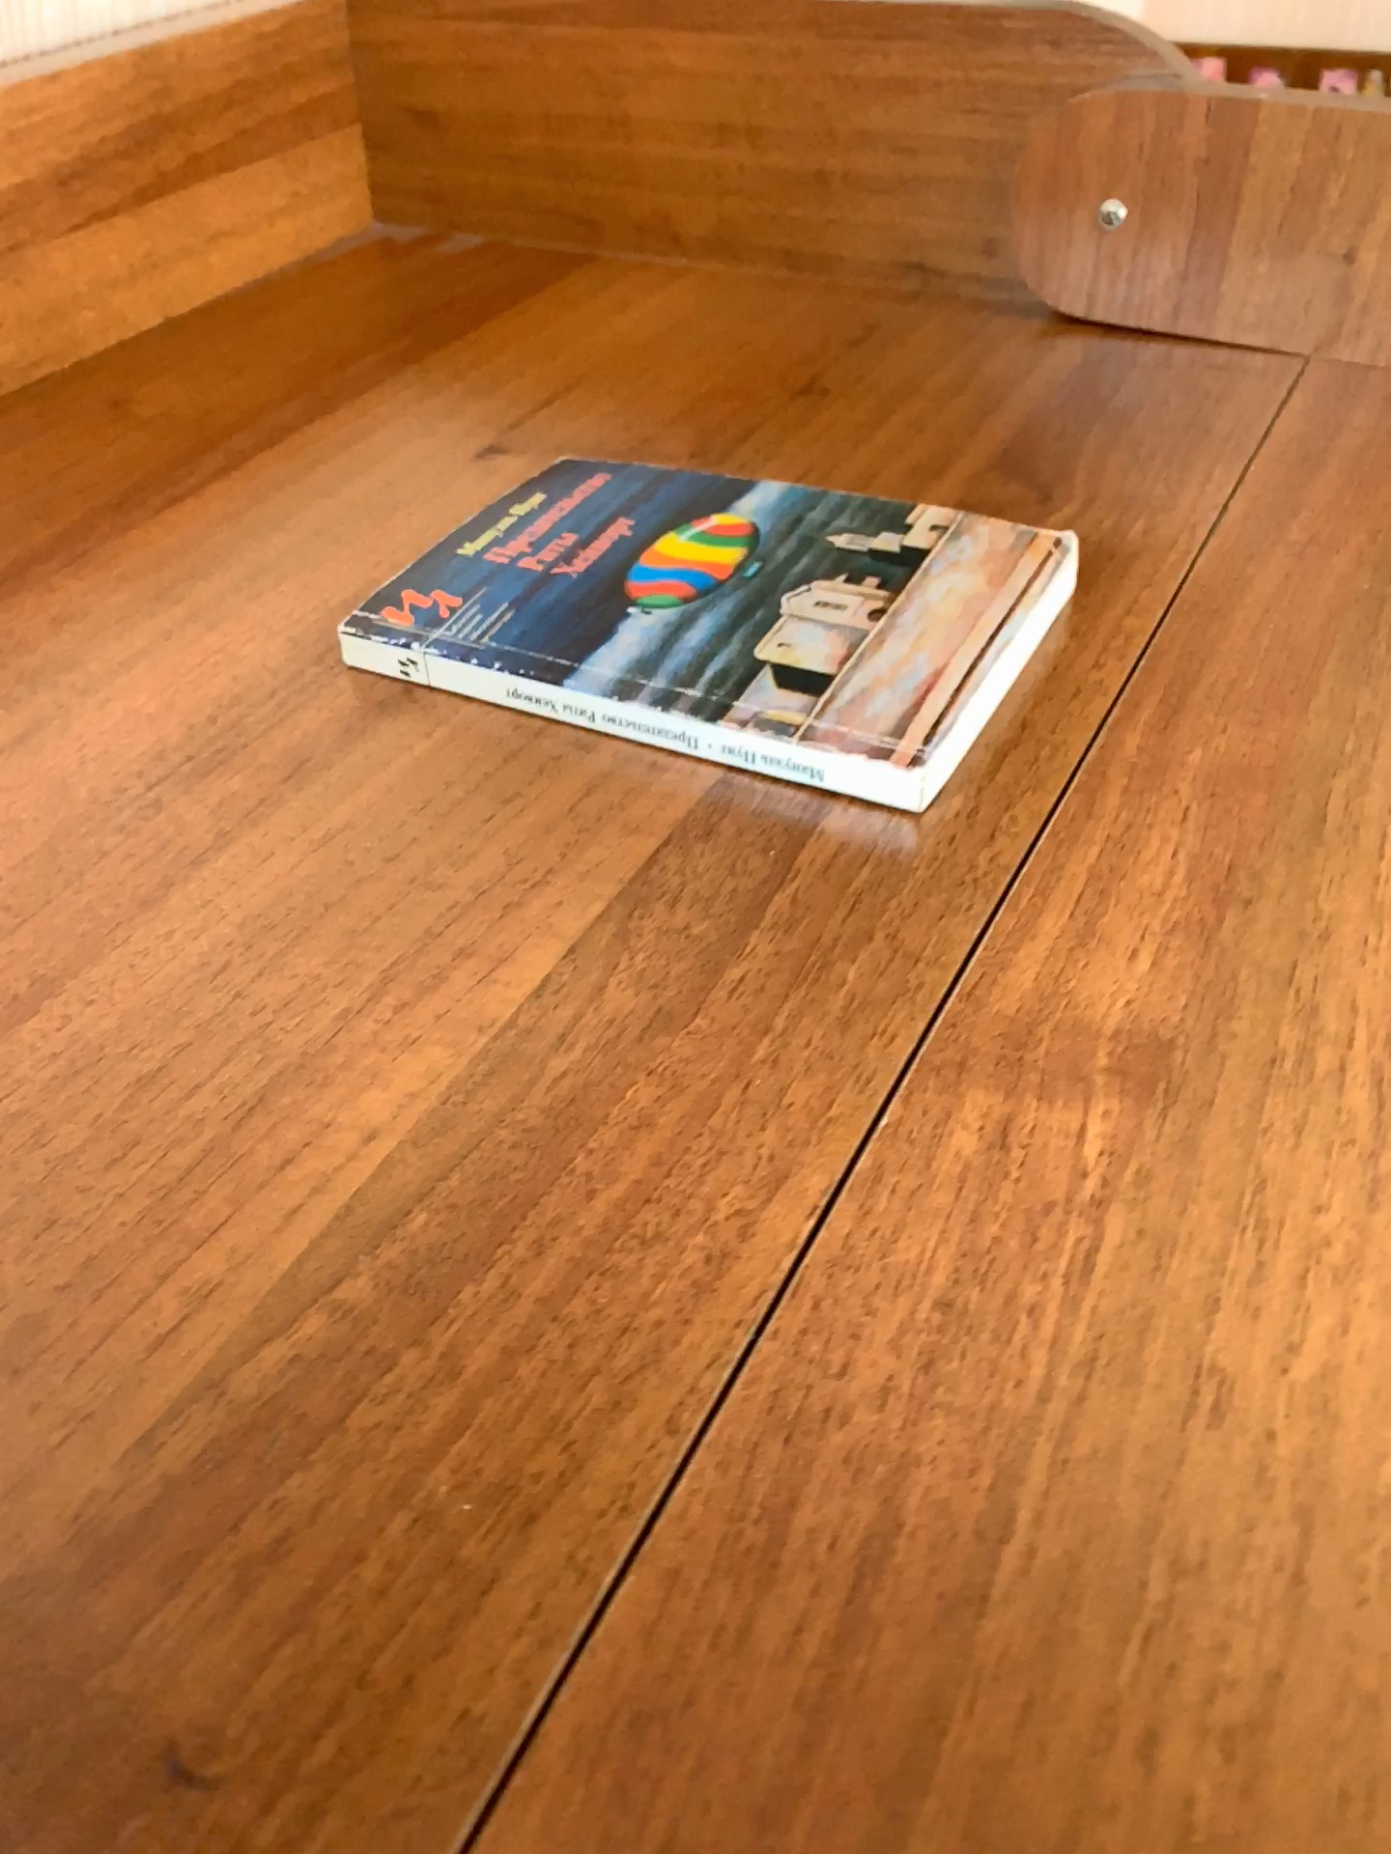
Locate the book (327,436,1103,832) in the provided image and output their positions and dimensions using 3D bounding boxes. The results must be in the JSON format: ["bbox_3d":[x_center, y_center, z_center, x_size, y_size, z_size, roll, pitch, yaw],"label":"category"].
[{"bbox_3d":[0.008,-0.083,0.366,0.157,0.016,0.122,17,44,21],"label":"book"}]
